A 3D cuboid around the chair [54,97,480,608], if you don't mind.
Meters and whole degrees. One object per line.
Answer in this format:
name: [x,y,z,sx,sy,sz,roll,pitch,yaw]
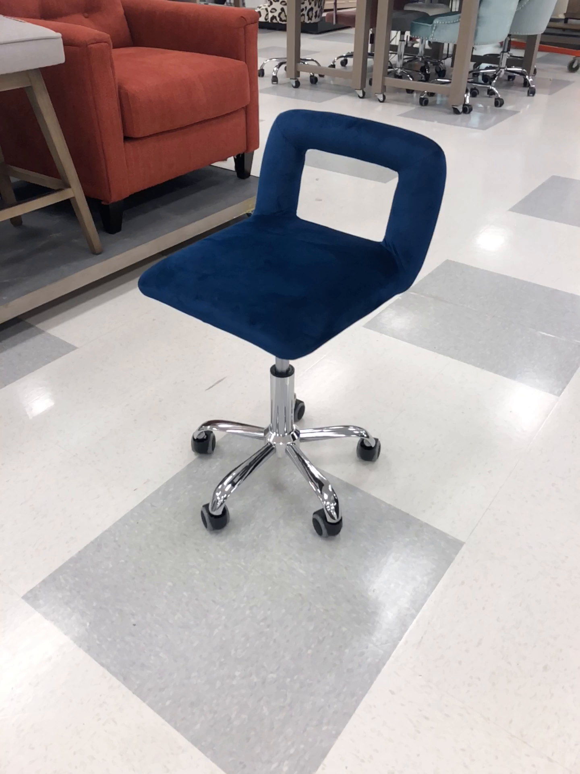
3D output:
chair: [-0.018,-0.099,1.218,0.448,0.719,0.531,24,41,30]
